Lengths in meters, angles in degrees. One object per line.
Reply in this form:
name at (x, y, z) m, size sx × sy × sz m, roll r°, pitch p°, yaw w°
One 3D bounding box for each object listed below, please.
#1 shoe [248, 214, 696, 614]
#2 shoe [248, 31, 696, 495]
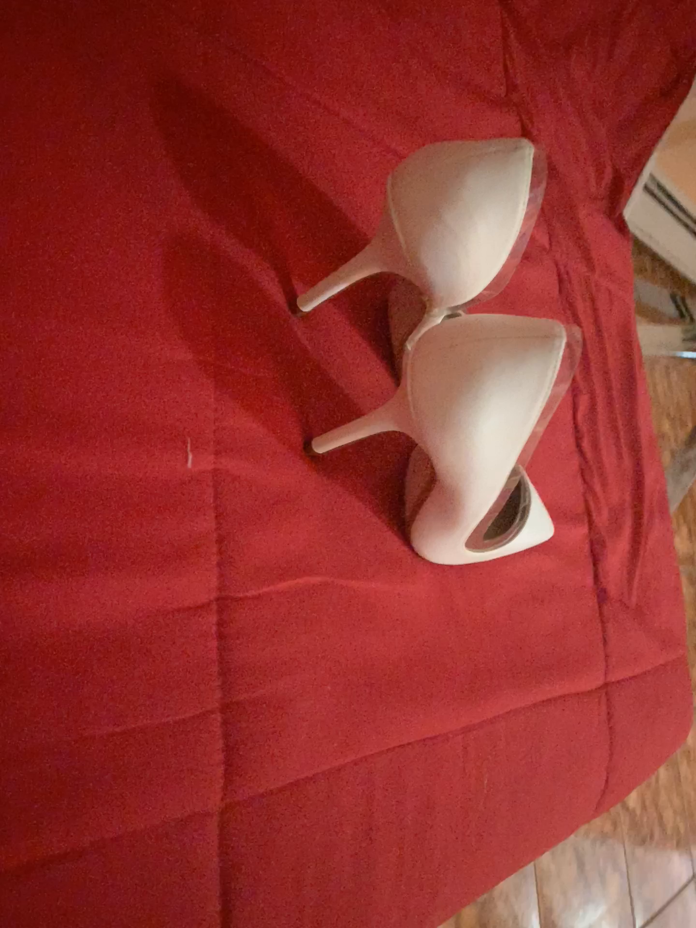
shoe at (0.093, 0.005, 0.363) m, size 0.244 × 0.136 × 0.097 m, roll 24°, pitch 63°, yaw -42°
shoe at (0.090, -0.073, 0.385) m, size 0.242 × 0.139 × 0.097 m, roll 24°, pitch 63°, yaw -42°
